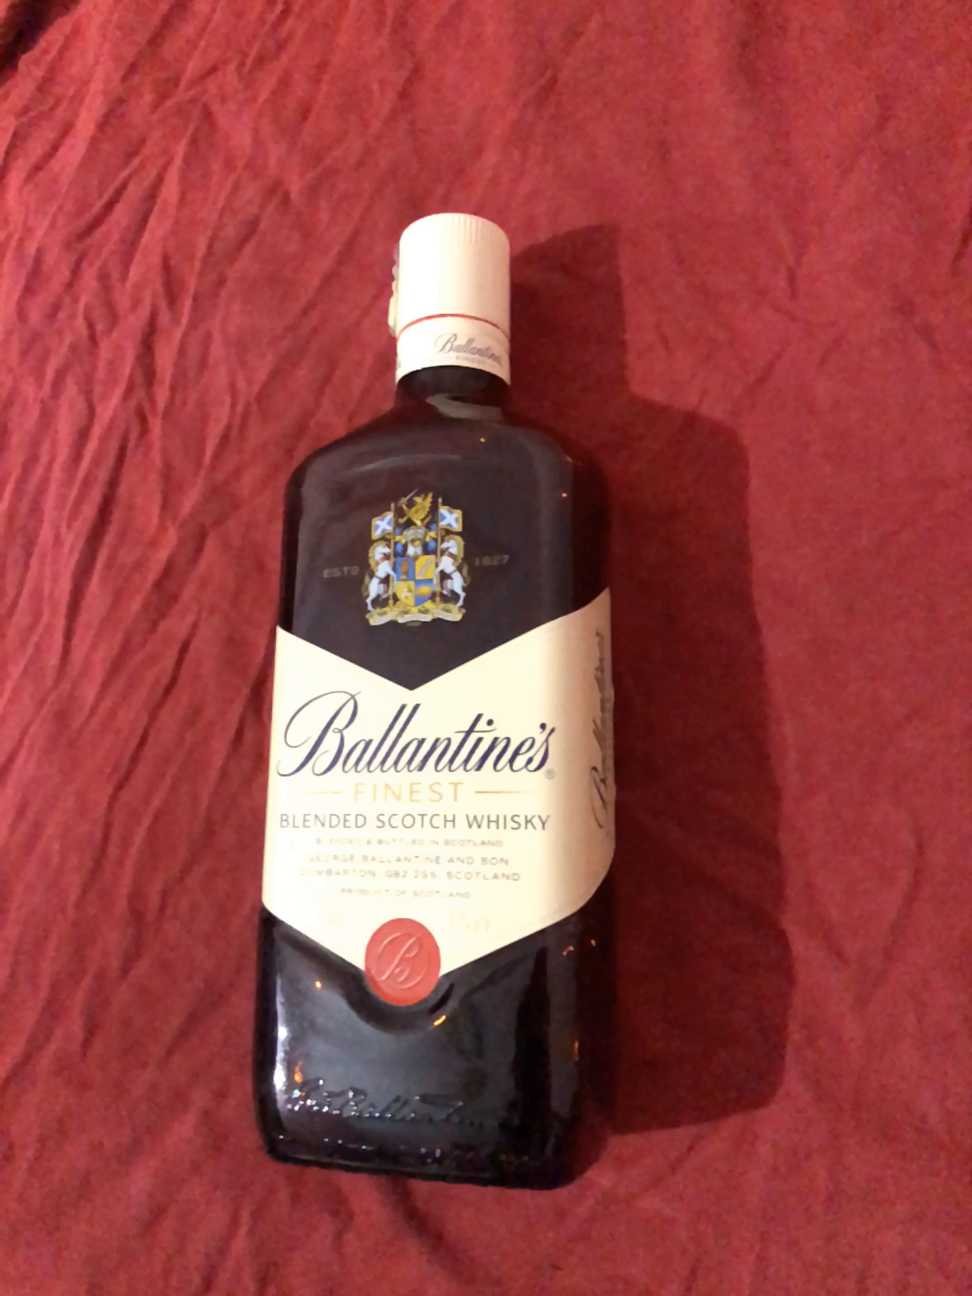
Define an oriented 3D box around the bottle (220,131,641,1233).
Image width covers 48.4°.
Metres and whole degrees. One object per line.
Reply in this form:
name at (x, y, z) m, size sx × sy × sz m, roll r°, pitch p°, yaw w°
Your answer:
bottle at (-0.009, 0.003, 0.278) m, size 0.090 × 0.050 × 0.250 m, roll -2°, pitch 81°, yaw 14°
